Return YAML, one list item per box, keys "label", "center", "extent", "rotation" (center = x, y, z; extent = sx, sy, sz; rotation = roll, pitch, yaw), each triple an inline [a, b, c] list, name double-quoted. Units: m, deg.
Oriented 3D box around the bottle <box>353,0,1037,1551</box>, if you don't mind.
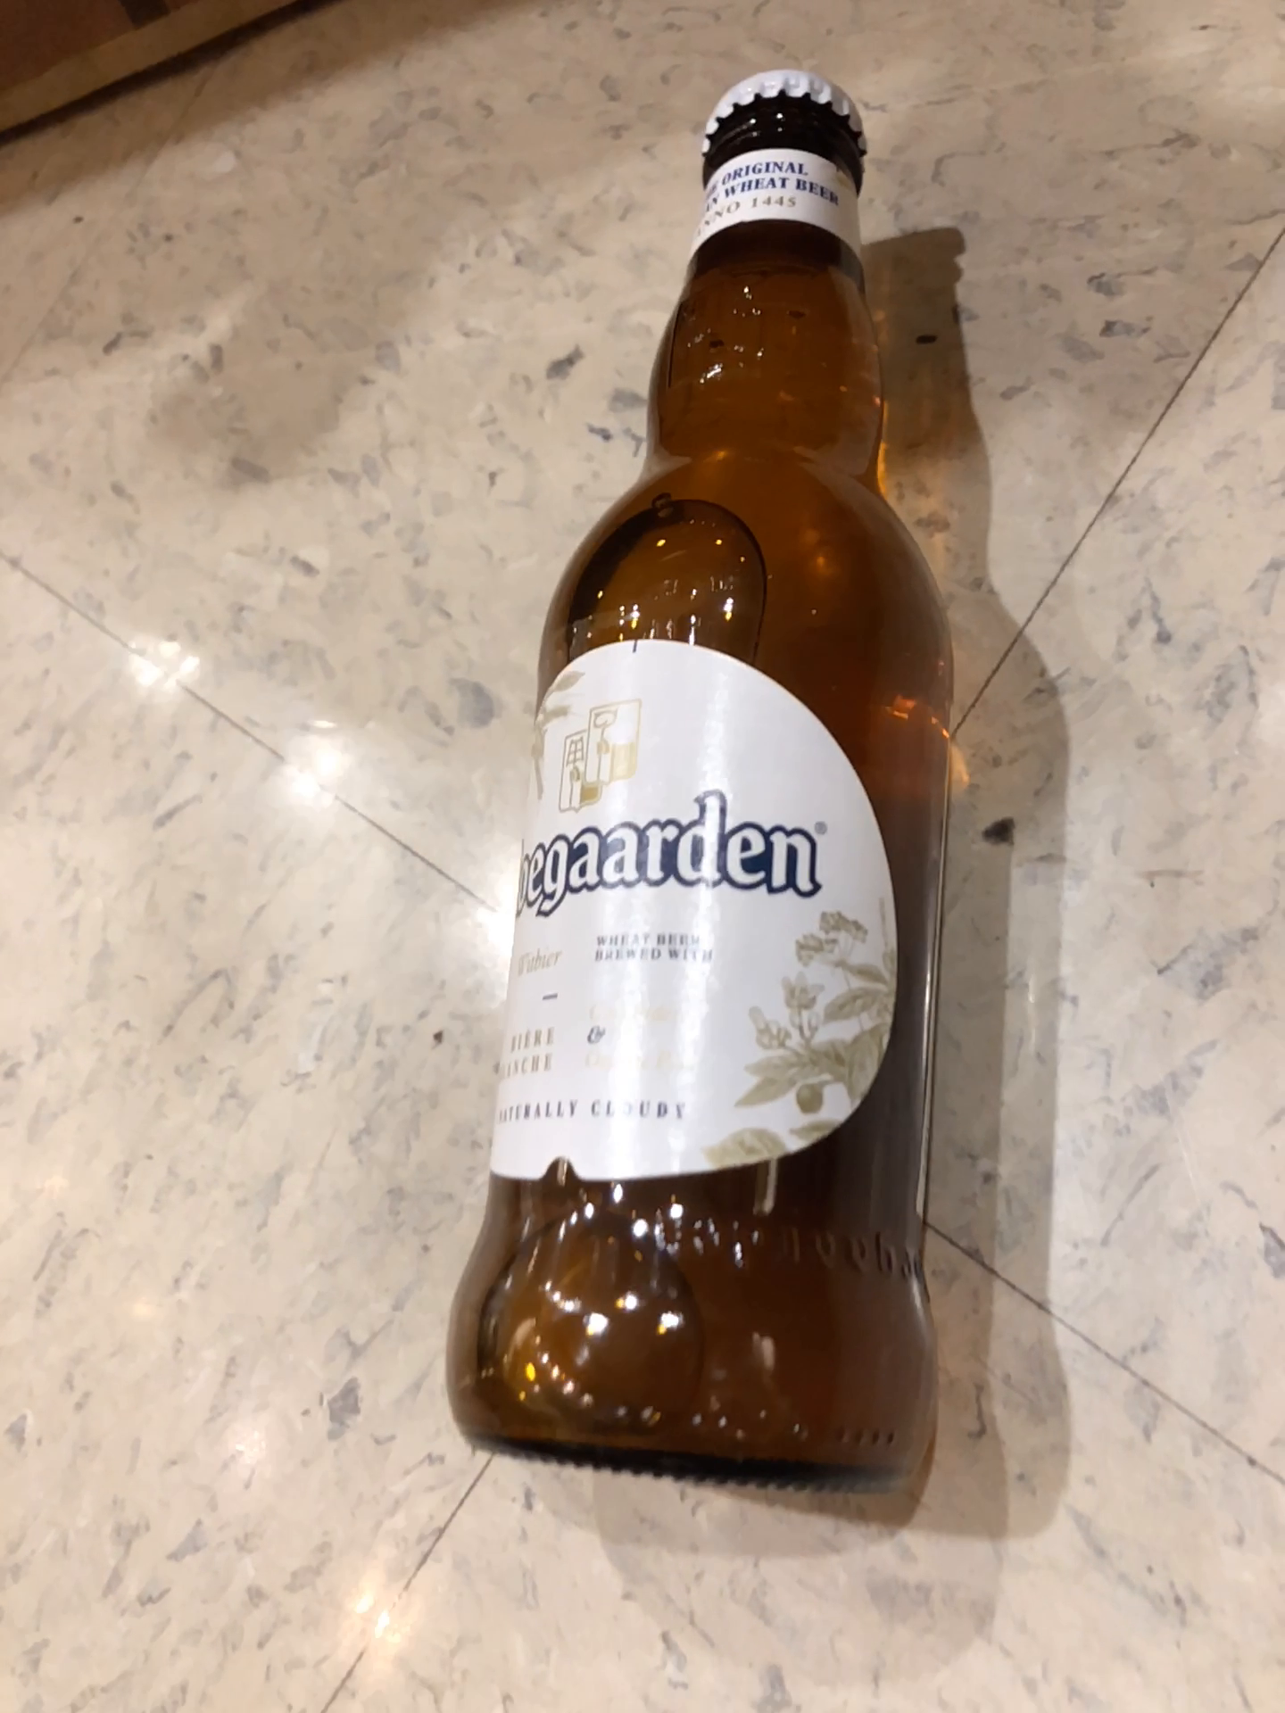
- label: "bottle"
  center: [0.017, -0.029, 0.215]
  extent: [0.070, 0.050, 0.230]
  rotation: [-5, 68, 27]
